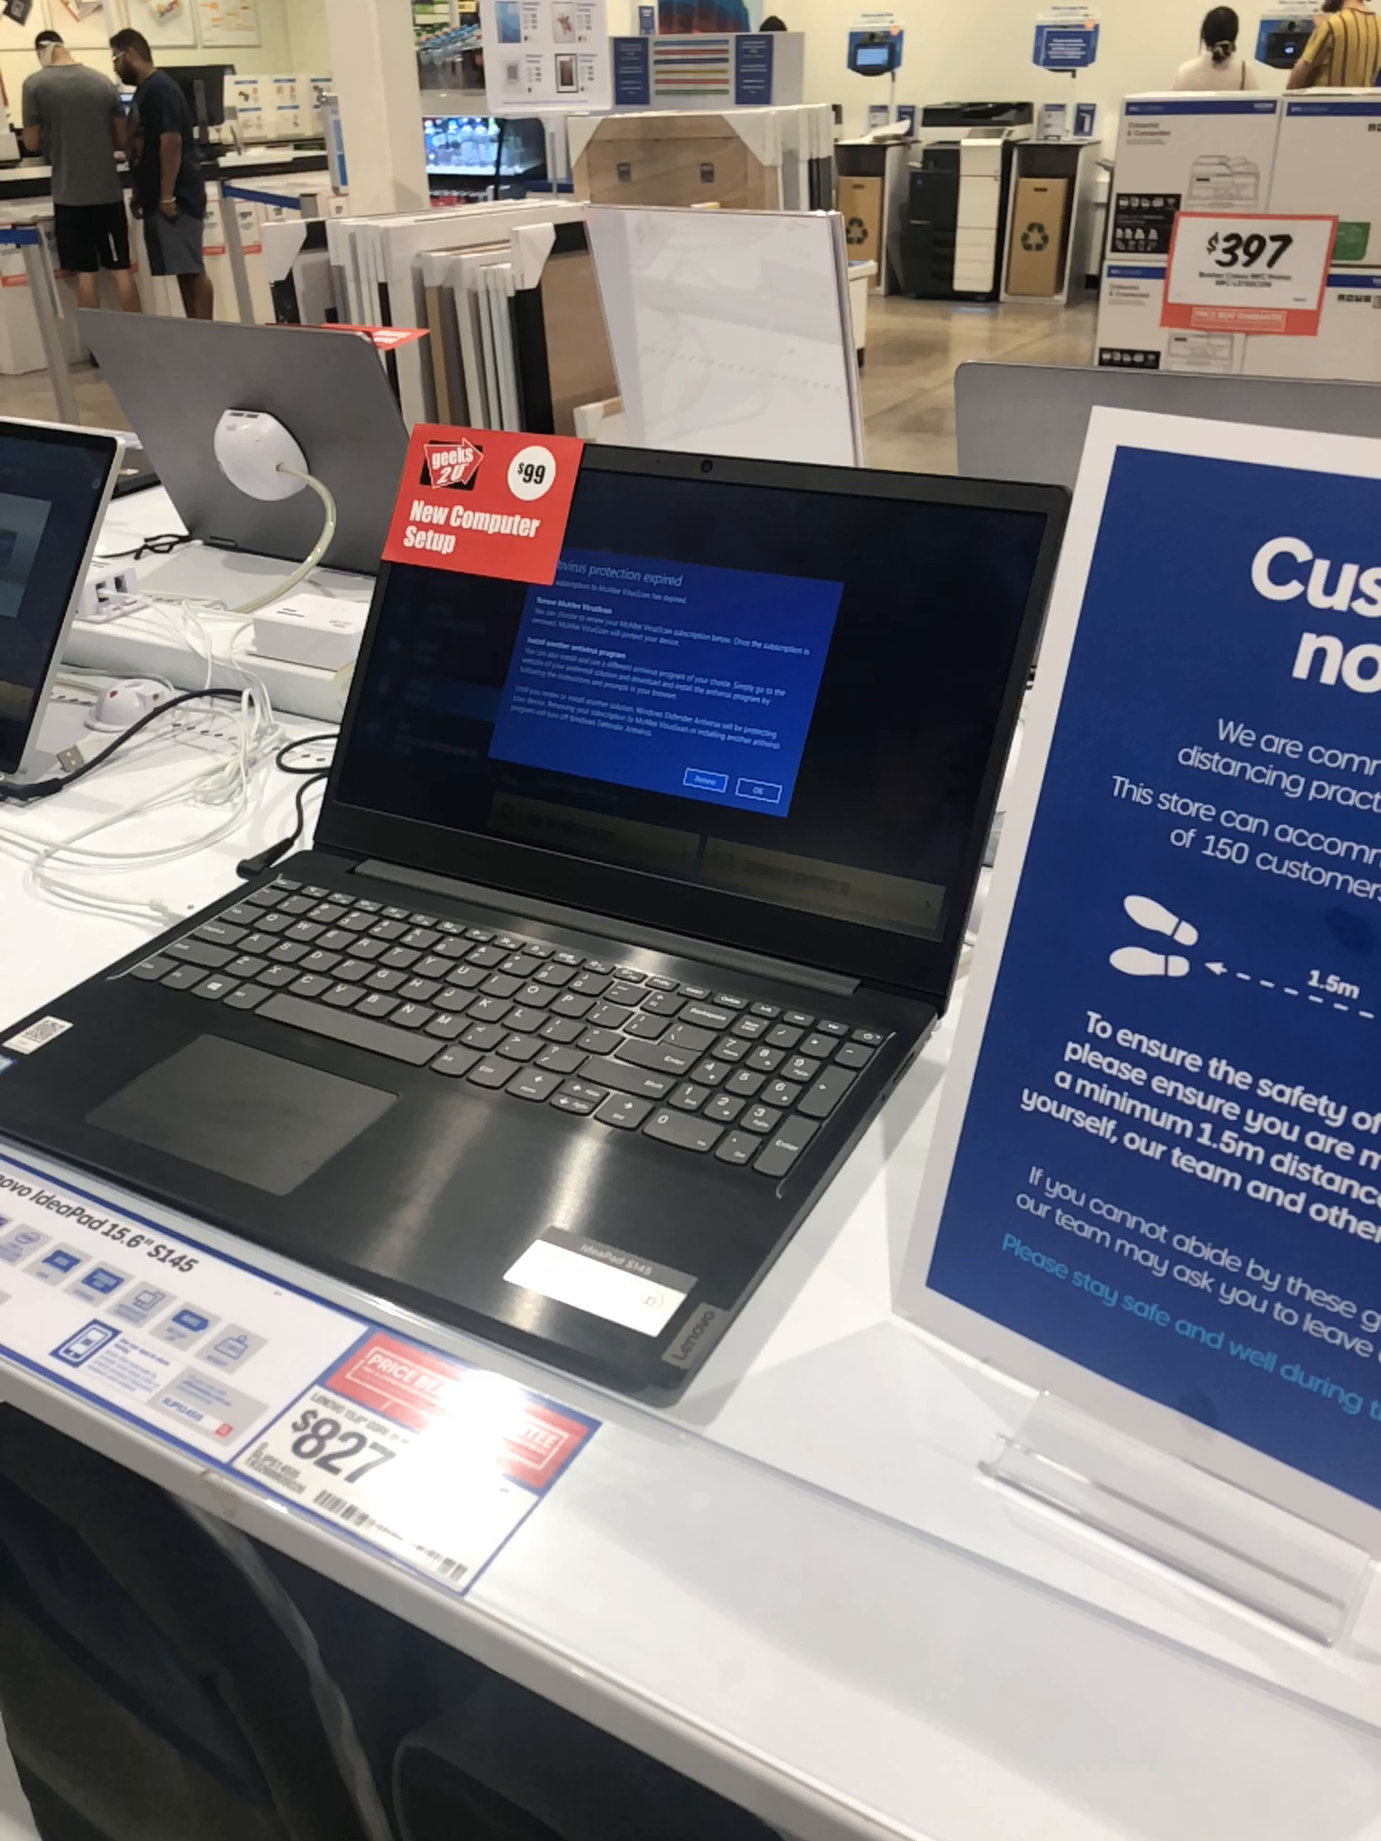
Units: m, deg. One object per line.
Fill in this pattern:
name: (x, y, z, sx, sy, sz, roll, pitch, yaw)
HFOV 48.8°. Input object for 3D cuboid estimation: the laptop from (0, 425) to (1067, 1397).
laptop: (-0.078, -0.059, 0.641, 0.353, 0.192, 0.370, 13, 33, 26)
